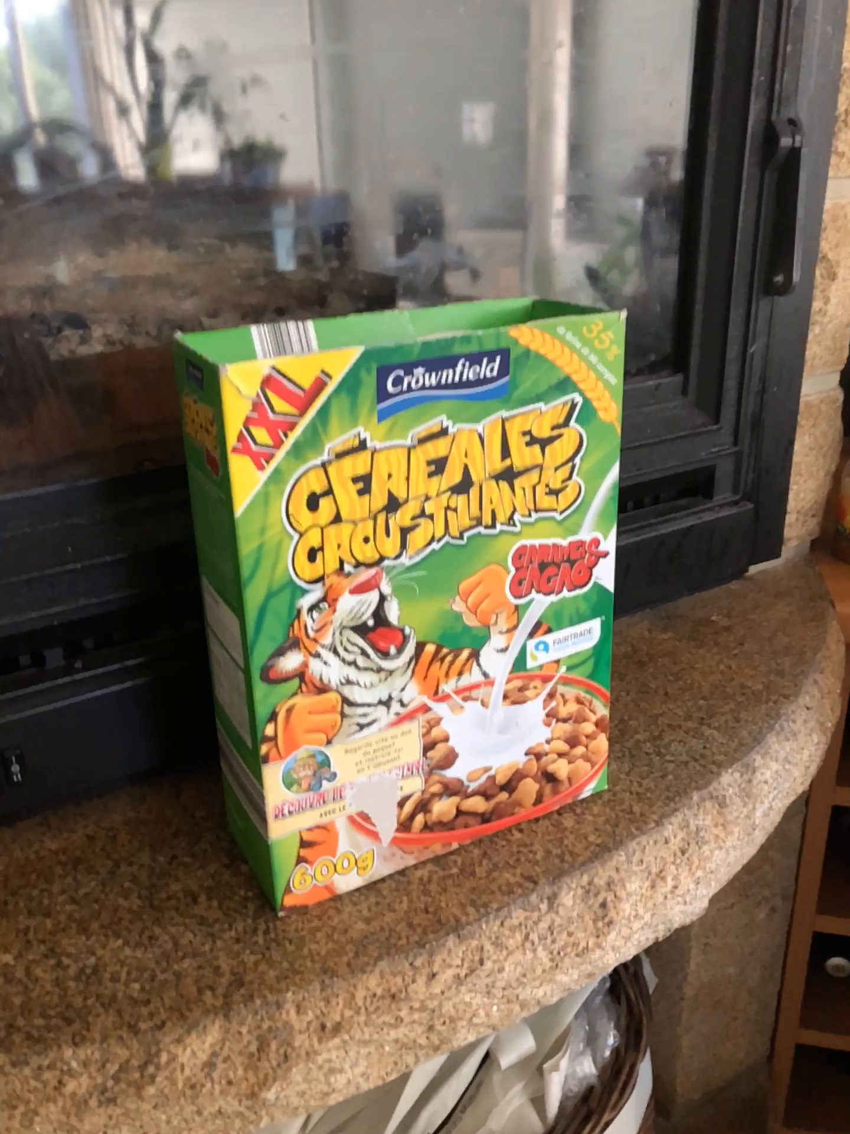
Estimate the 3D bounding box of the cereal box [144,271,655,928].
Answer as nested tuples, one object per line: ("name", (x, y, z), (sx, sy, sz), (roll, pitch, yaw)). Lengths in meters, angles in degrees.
("cereal box", (-0.004, 0.004, 0.450), (0.201, 0.259, 0.090), (-14, 25, -28))
